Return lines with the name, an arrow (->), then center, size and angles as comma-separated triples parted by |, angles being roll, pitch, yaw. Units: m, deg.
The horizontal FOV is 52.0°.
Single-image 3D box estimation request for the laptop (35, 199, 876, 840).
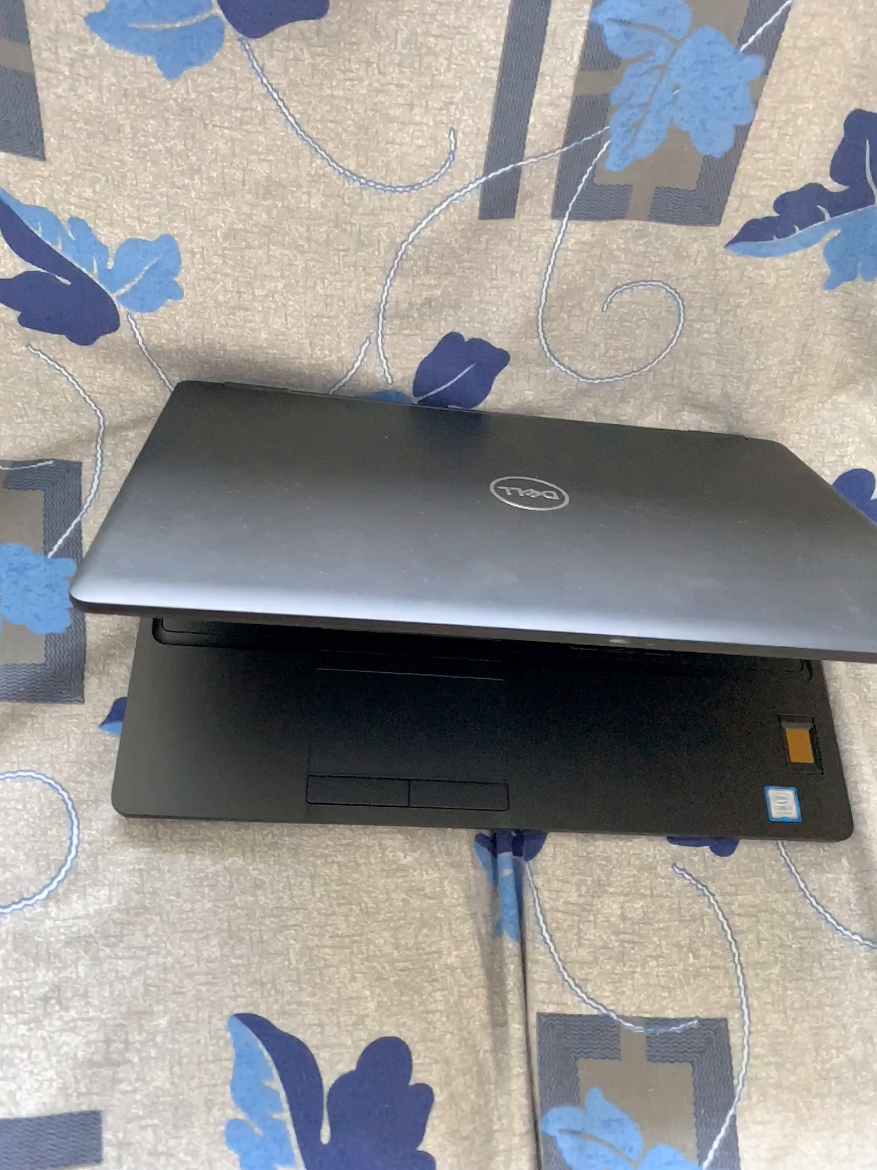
laptop -> 0.045, -0.017, 0.425 | 0.371, 0.143, 0.238 | 4, 65, -8
